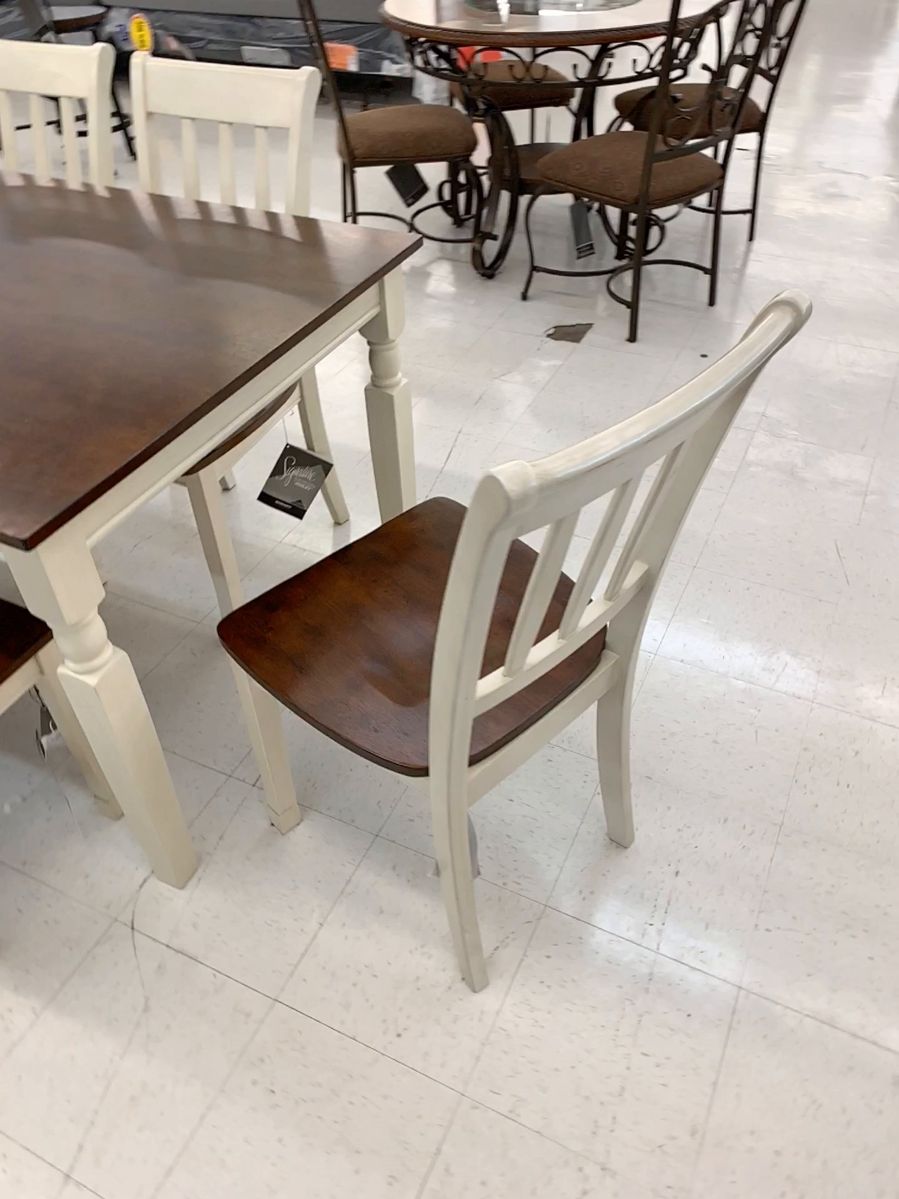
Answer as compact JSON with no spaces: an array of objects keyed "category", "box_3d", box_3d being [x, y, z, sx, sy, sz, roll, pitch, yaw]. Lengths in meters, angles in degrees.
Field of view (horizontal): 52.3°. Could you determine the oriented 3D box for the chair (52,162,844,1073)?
[{"category":"chair","box_3d":[0.007,0.030,1.201,0.571,0.906,0.531,32,52,32]}]
